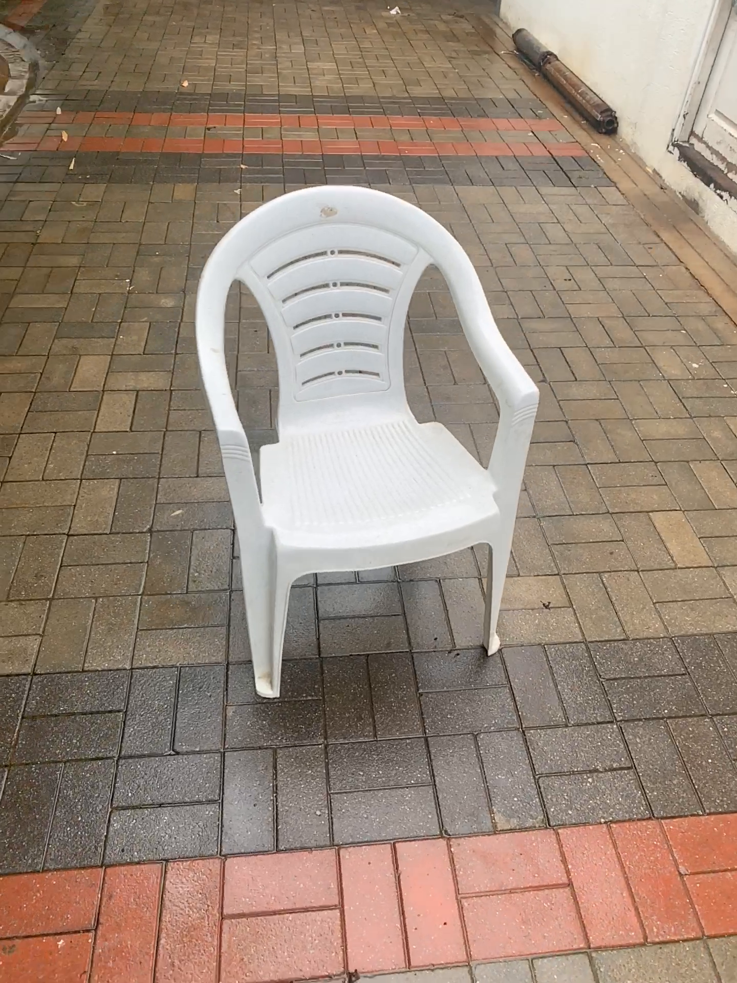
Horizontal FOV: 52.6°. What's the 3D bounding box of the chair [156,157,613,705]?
[{"bbox_3d":[-0.038,-0.116,1.405,0.560,0.776,0.572,-9,44,-14],"label":"chair"}]
